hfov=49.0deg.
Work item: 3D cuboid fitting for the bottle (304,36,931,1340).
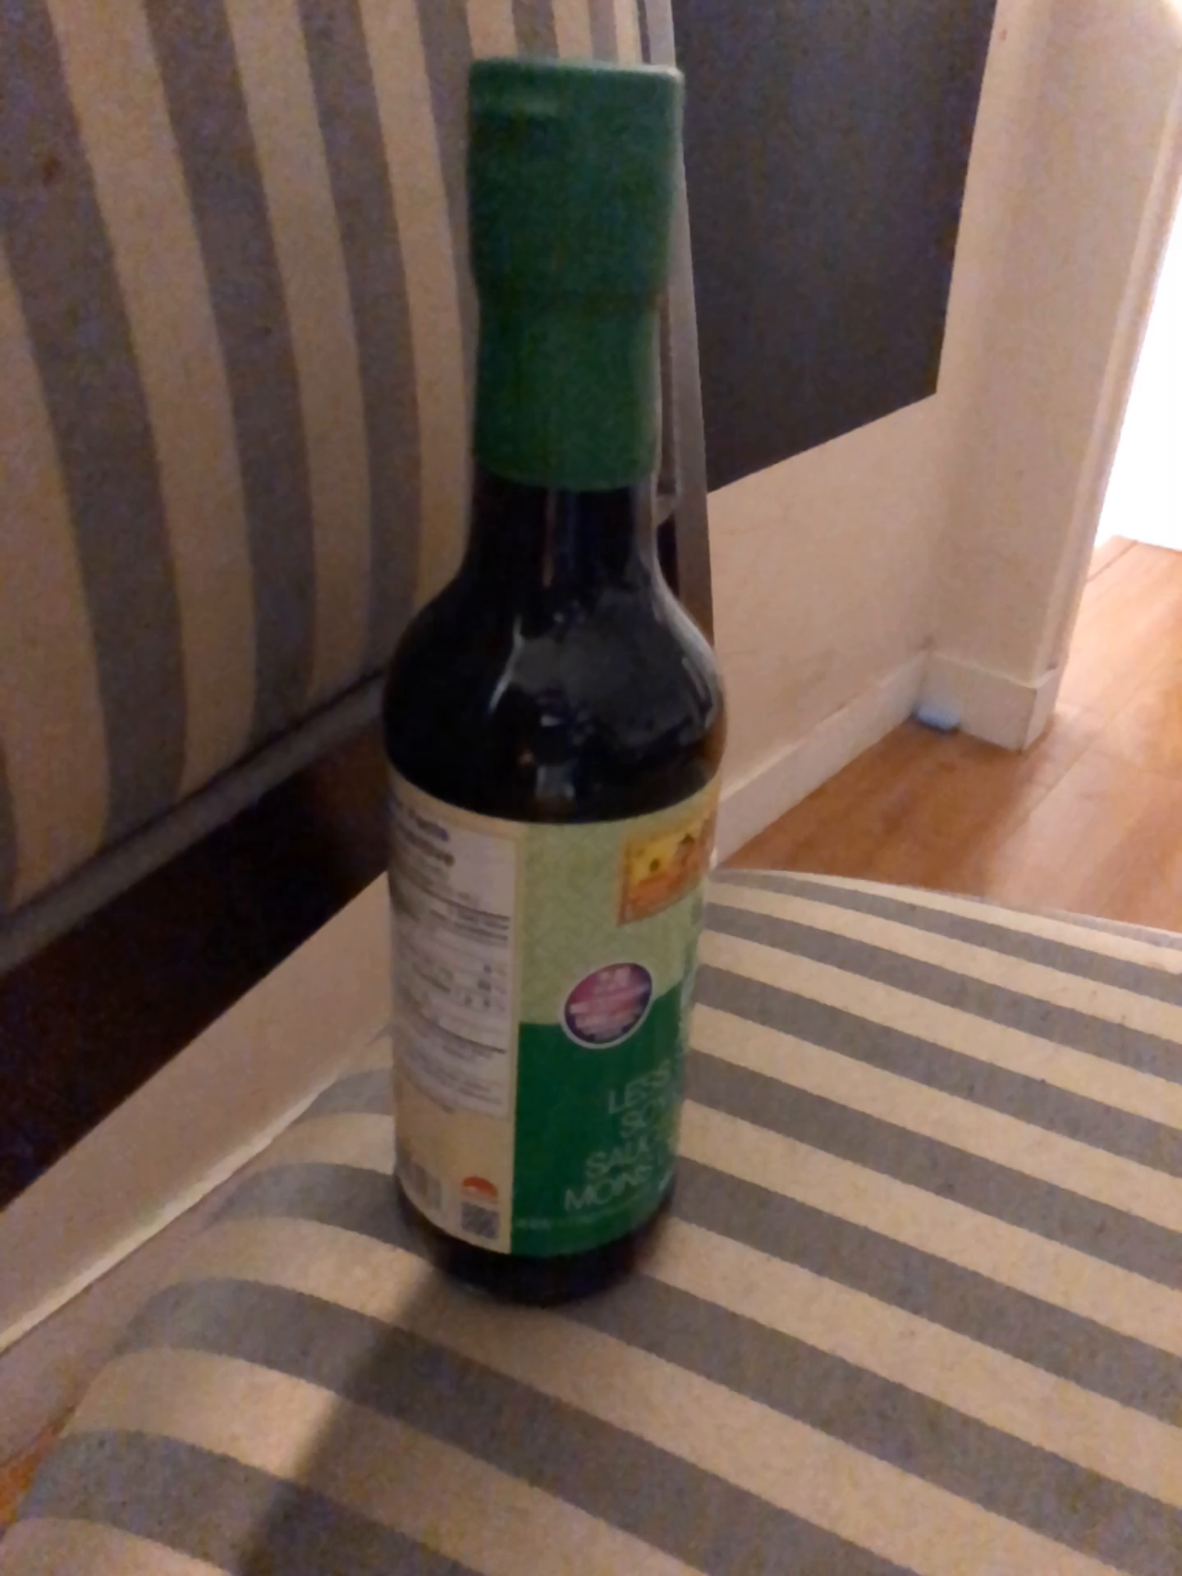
[{"bbox_3d":[0.002,-0.013,0.256,0.070,0.229,0.080,16,31,21],"label":"bottle"}]
